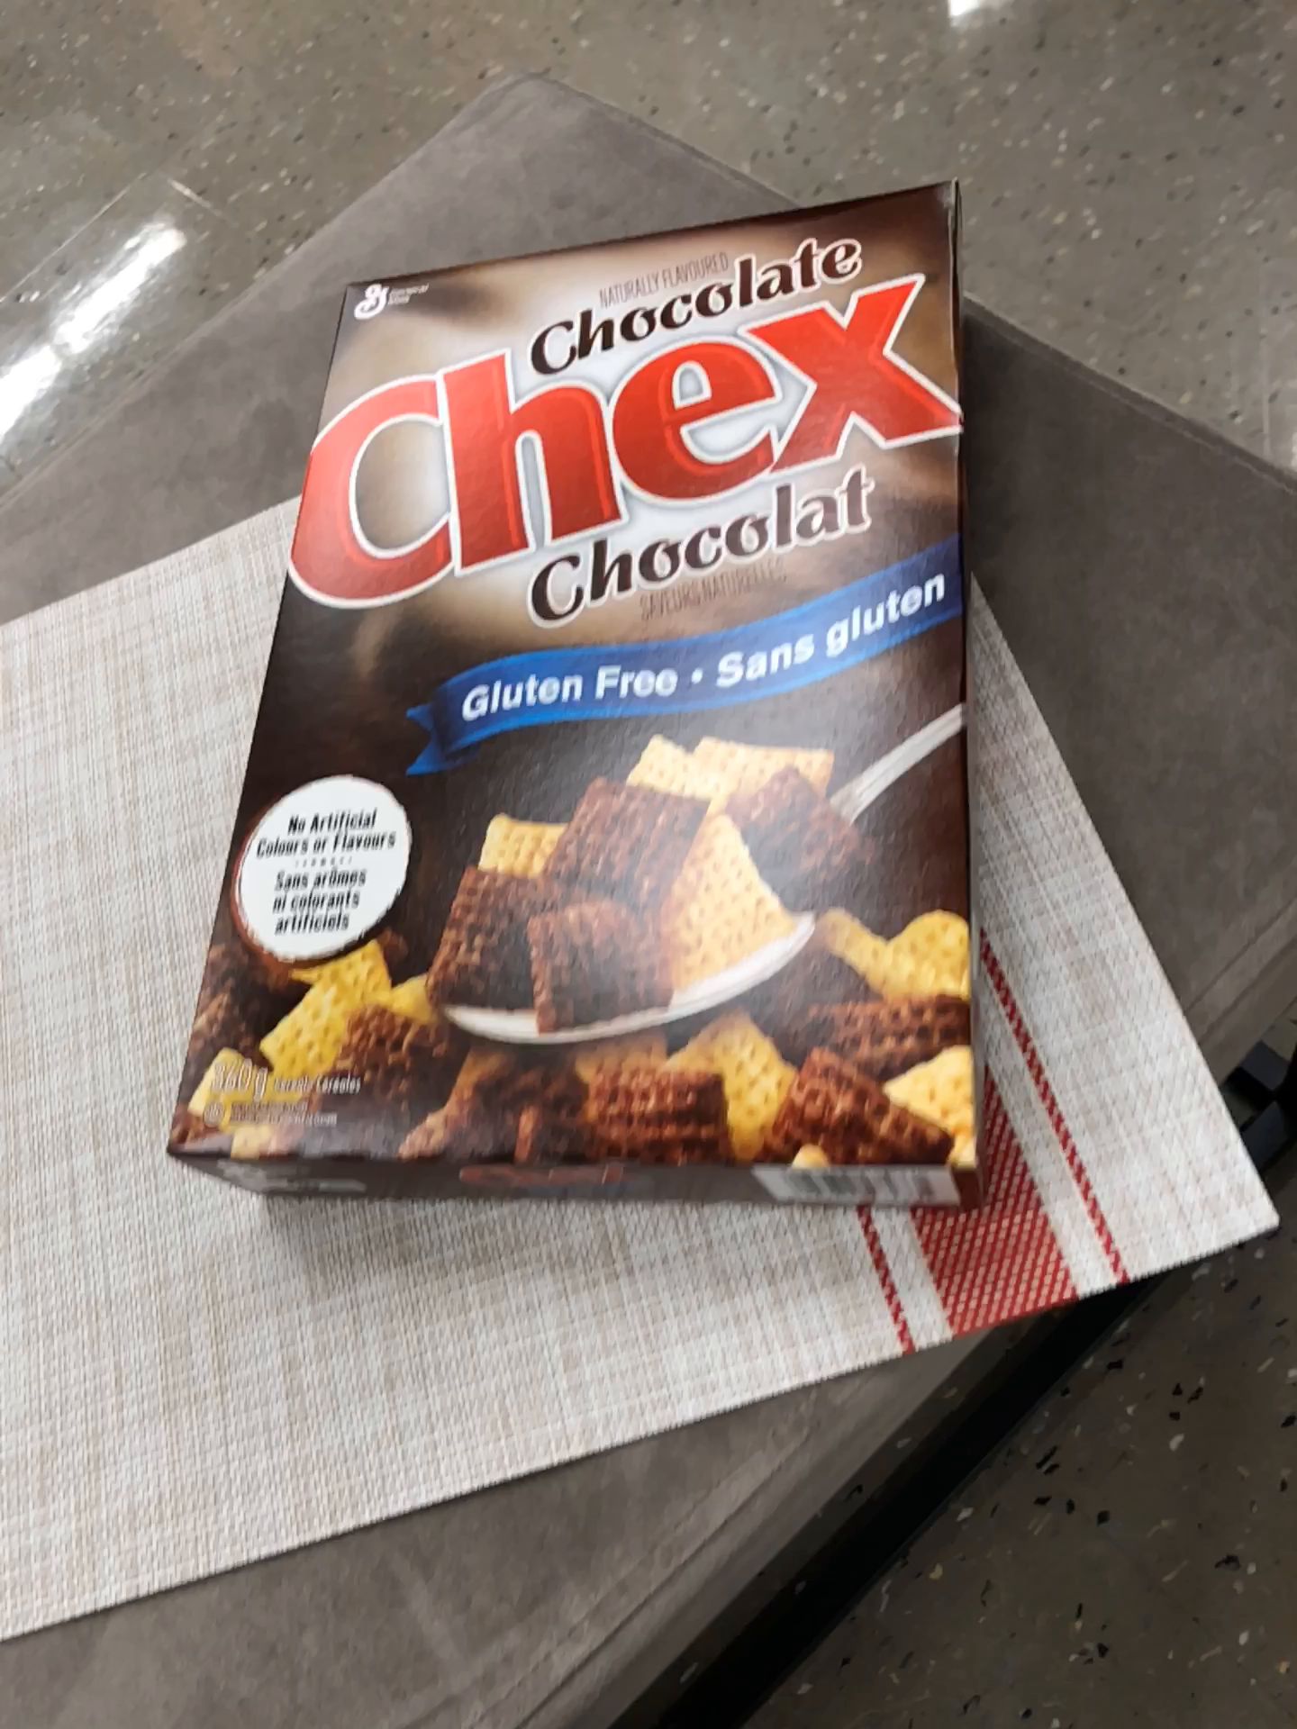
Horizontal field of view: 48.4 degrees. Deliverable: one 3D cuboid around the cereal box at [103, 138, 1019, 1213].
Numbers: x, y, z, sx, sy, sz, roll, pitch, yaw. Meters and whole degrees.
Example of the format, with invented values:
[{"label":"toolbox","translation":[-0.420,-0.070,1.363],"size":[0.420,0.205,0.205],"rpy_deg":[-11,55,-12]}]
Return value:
[{"label":"cereal box","translation":[-0.012,-0.058,0.397],"size":[0.210,0.050,0.290],"rpy_deg":[-3,65,16]}]
